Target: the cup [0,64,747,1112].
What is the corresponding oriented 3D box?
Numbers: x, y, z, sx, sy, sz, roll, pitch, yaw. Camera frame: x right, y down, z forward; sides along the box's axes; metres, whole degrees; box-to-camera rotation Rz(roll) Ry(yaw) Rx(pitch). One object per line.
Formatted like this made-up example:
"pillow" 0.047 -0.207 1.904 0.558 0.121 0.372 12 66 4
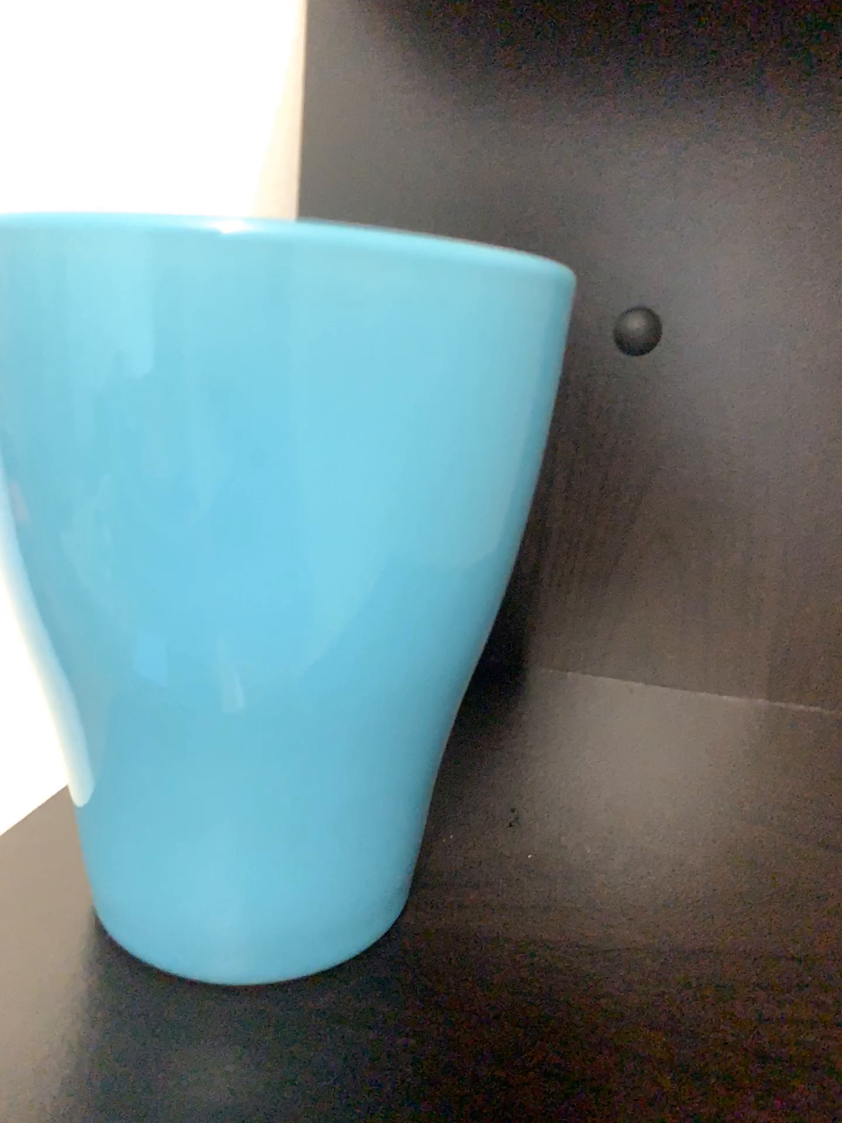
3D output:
"cup" -0.034 -0.002 0.128 0.110 0.090 0.090 2 13 -13
